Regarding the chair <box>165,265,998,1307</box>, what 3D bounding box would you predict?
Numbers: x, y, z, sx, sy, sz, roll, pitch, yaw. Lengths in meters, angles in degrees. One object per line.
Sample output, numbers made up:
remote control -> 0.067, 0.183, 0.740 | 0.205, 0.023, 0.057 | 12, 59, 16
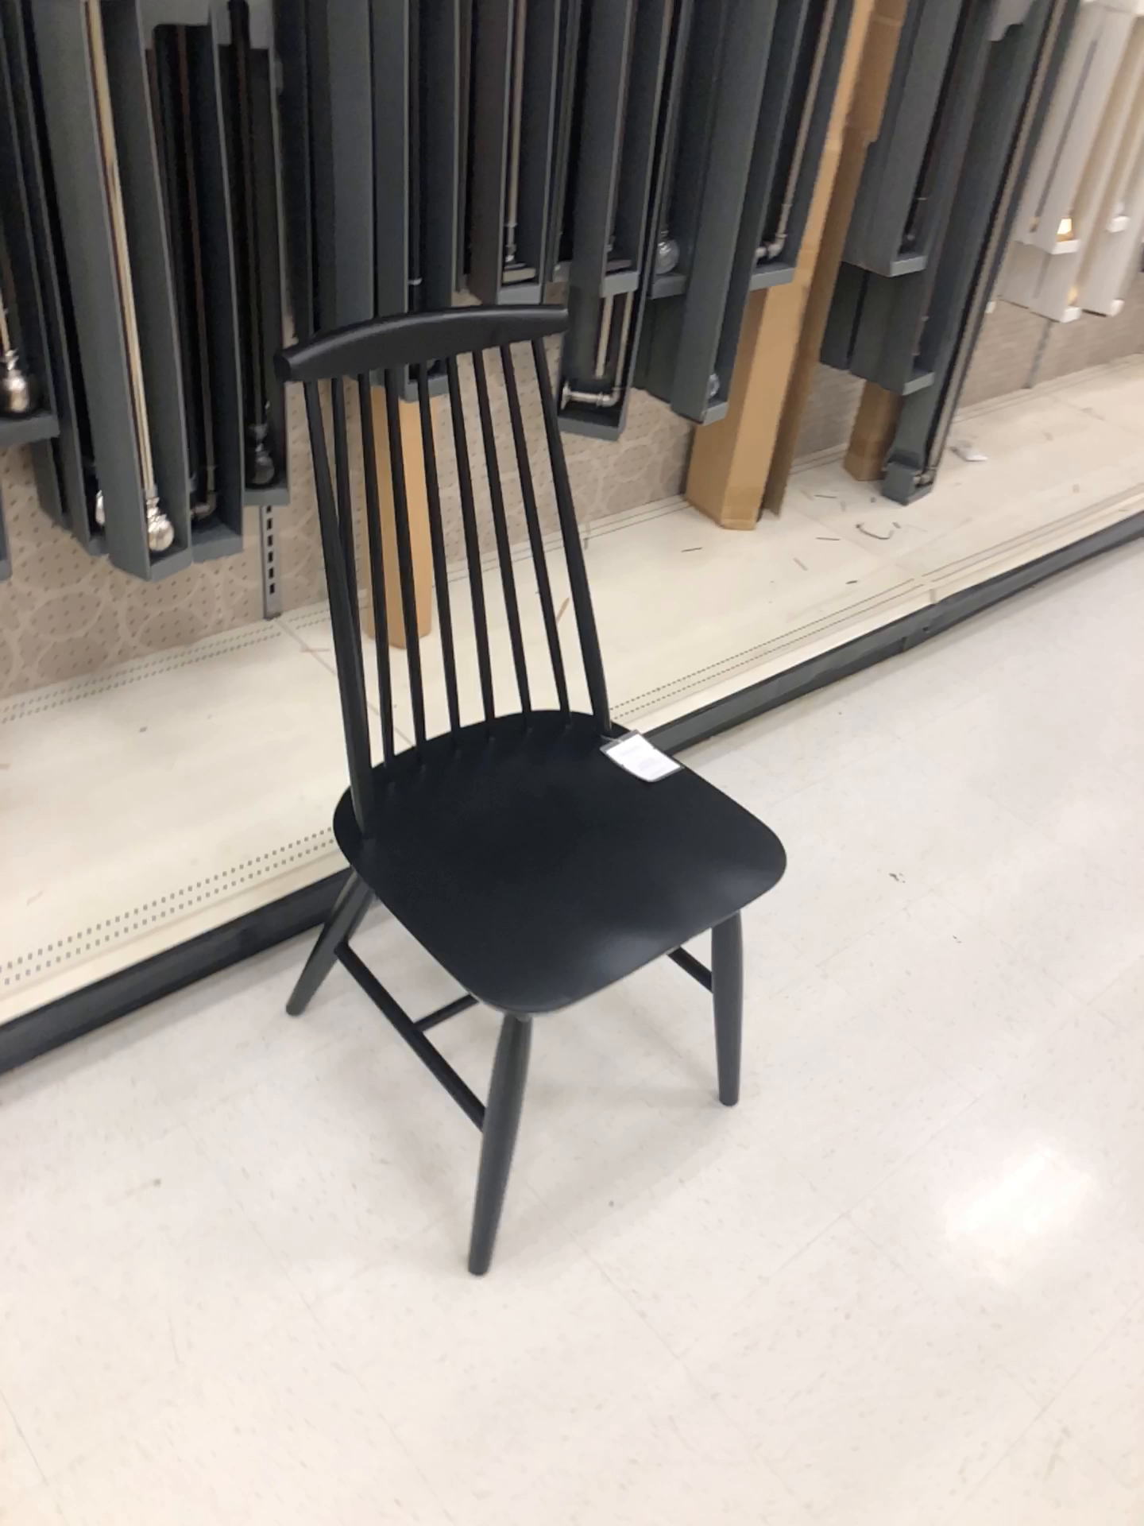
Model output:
chair -> -0.053, 0.011, 1.452 | 0.519, 0.909, 0.609 | -23, 48, -34
